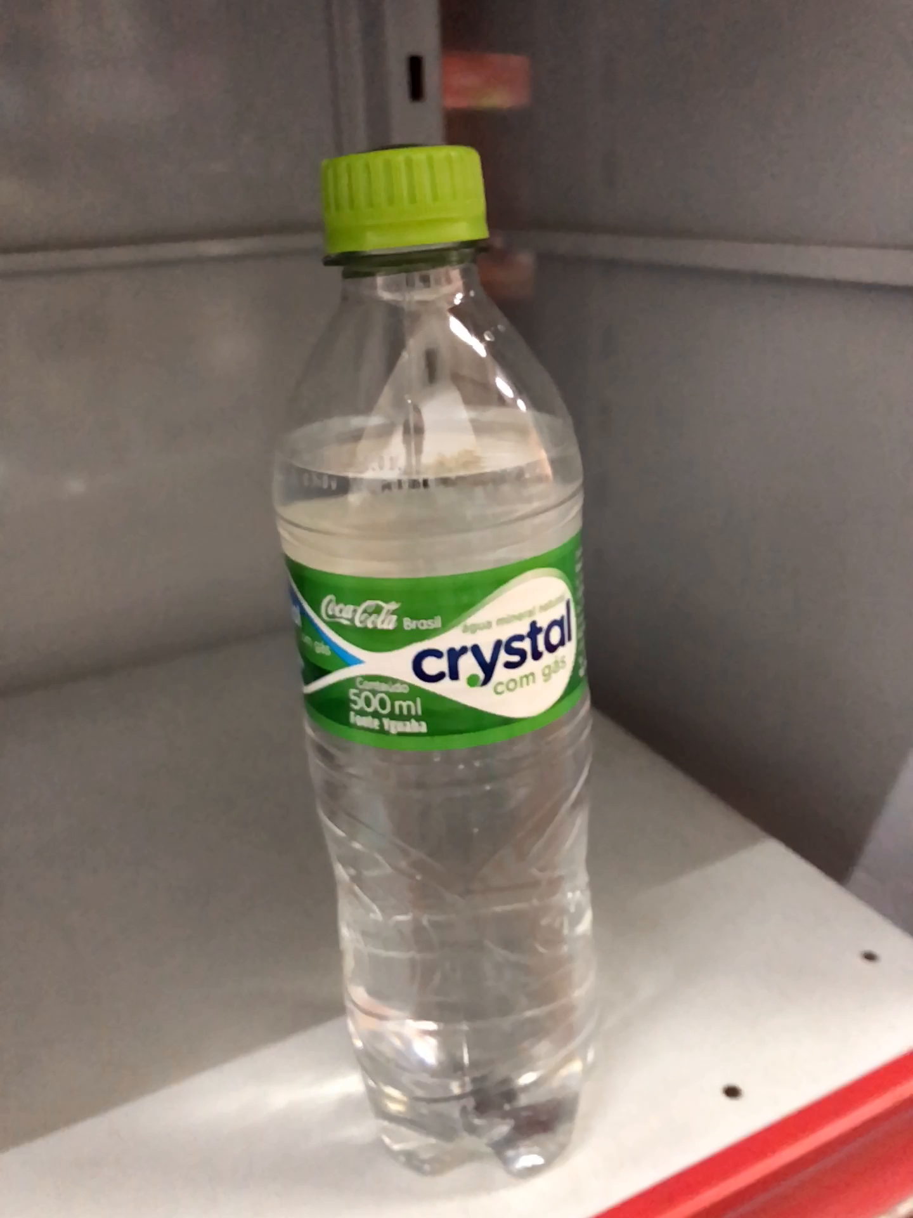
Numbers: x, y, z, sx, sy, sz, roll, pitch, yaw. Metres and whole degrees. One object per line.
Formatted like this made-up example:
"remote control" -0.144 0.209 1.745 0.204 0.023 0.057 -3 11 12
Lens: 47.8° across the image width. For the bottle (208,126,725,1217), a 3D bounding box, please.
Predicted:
"bottle" 0.003 0.022 0.216 0.070 0.219 0.060 -11 23 -20
